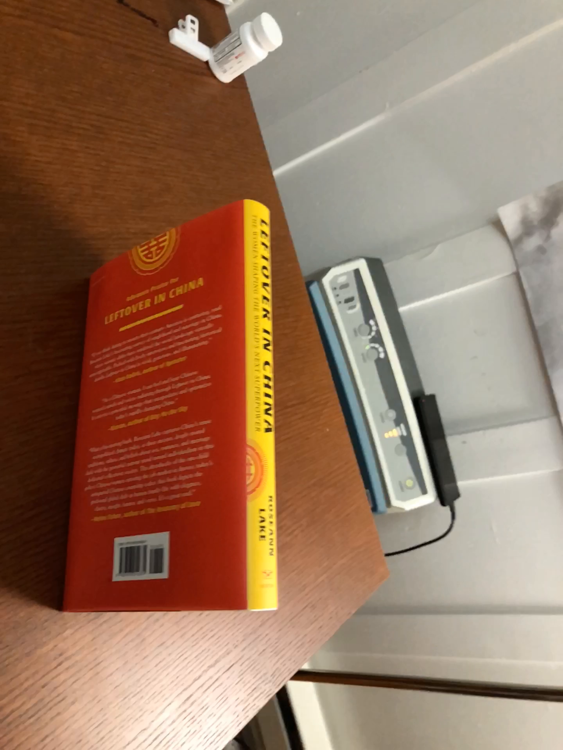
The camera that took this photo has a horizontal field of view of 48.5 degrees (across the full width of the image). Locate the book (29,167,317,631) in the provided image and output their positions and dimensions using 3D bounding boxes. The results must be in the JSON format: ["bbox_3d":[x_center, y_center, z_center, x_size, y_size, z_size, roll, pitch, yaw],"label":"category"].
[{"bbox_3d":[-0.073,0.024,0.409,0.060,0.179,0.260,22,60,-48],"label":"book"}]
